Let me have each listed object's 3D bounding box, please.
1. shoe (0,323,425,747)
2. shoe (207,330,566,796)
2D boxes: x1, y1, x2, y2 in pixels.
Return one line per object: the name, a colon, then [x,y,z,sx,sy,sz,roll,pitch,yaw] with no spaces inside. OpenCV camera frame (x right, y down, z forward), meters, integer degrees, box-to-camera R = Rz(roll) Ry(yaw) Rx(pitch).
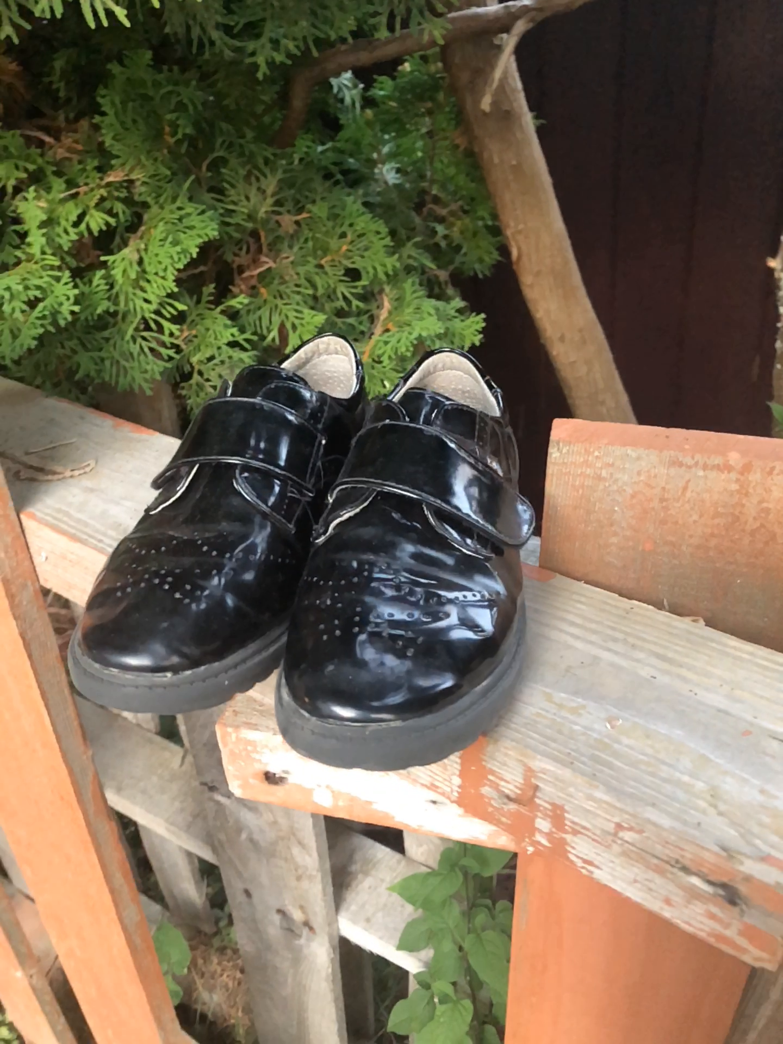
shoe: [-0.059,-0.017,0.391,0.090,0.070,0.241,8,31,15]
shoe: [0.017,-0.007,0.357,0.090,0.070,0.231,6,31,12]
